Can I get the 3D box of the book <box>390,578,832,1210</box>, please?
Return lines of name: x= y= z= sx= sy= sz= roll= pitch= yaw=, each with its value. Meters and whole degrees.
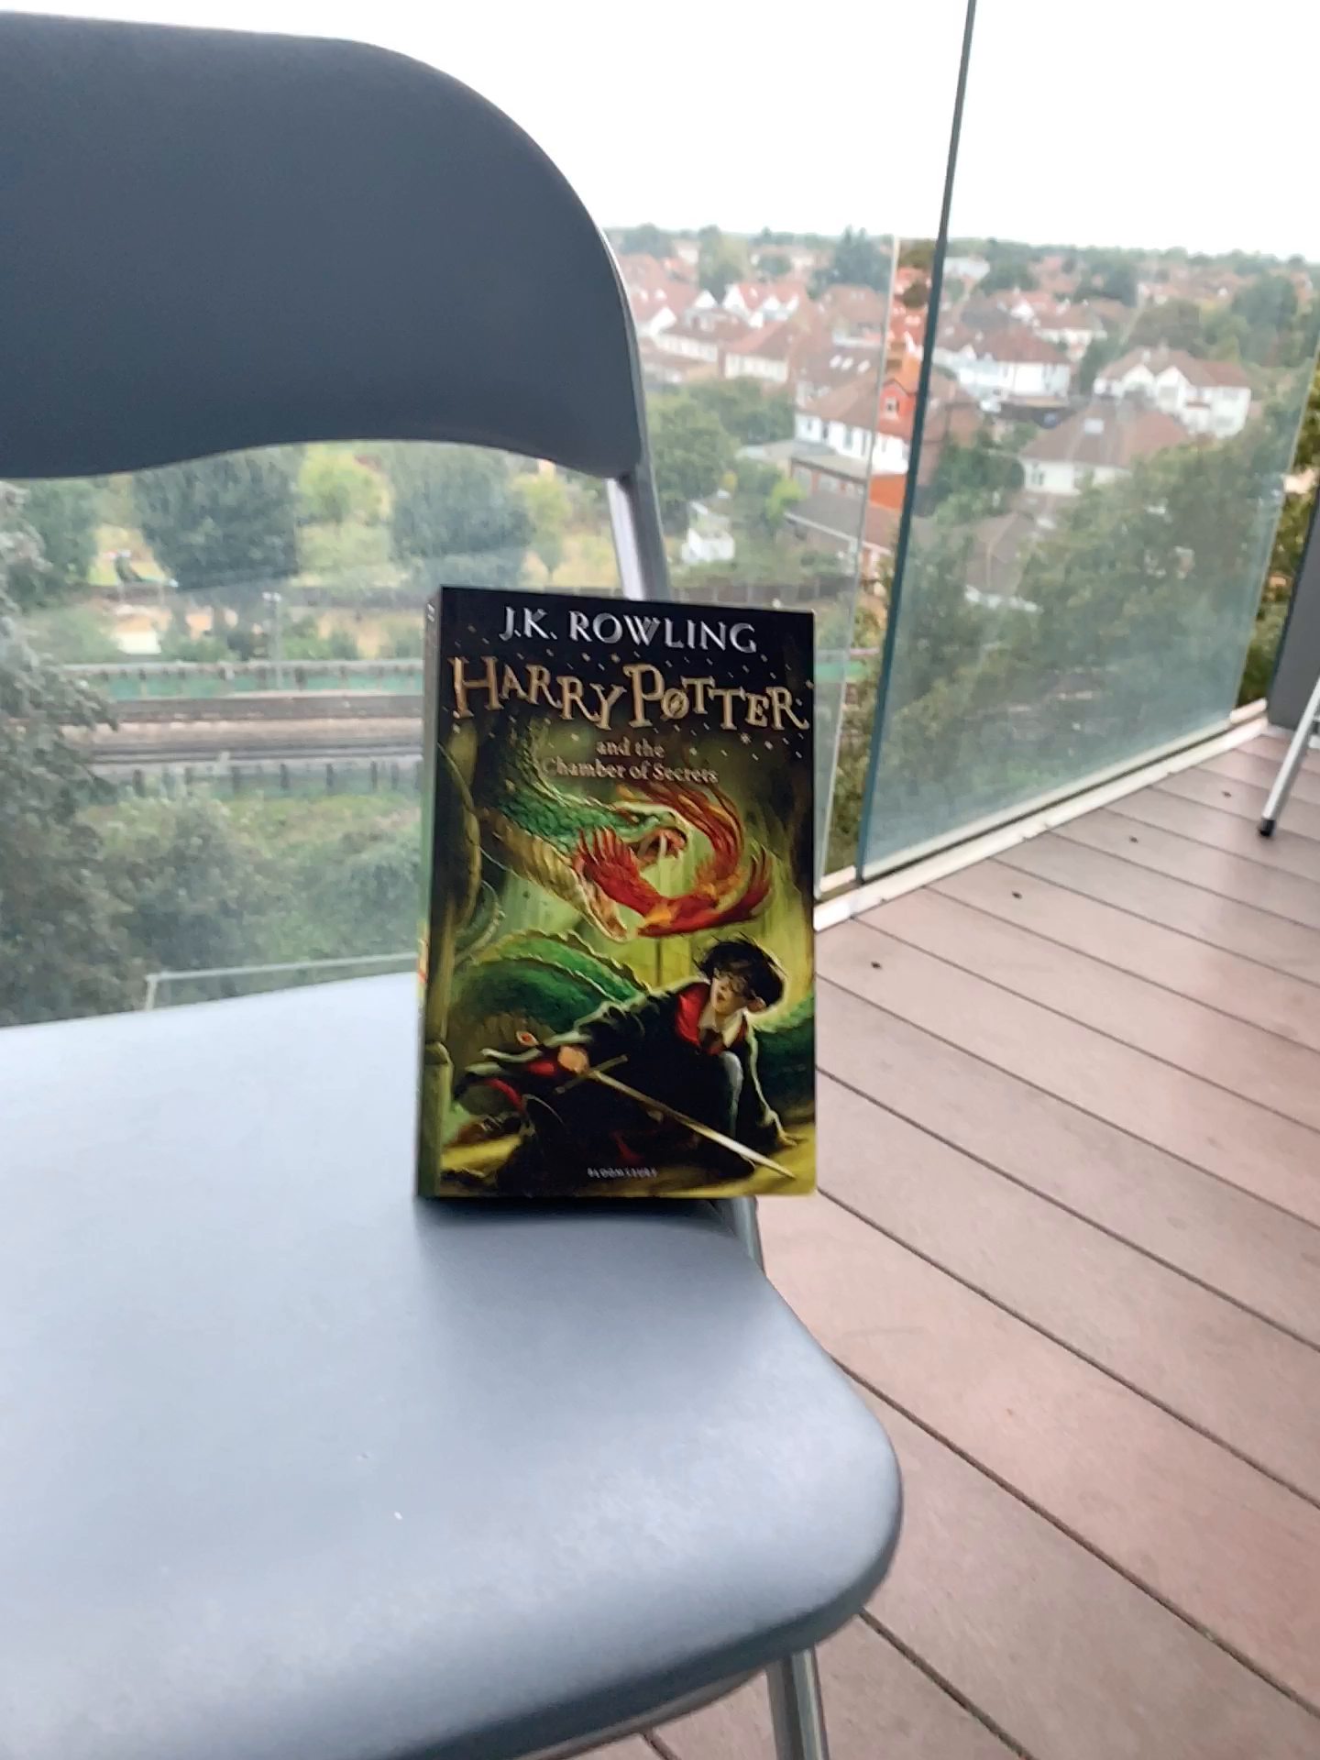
book: x=-0.018 y=0.003 z=0.457 sx=0.140 sy=0.200 sz=0.040 roll=0 pitch=-5 yaw=-7
